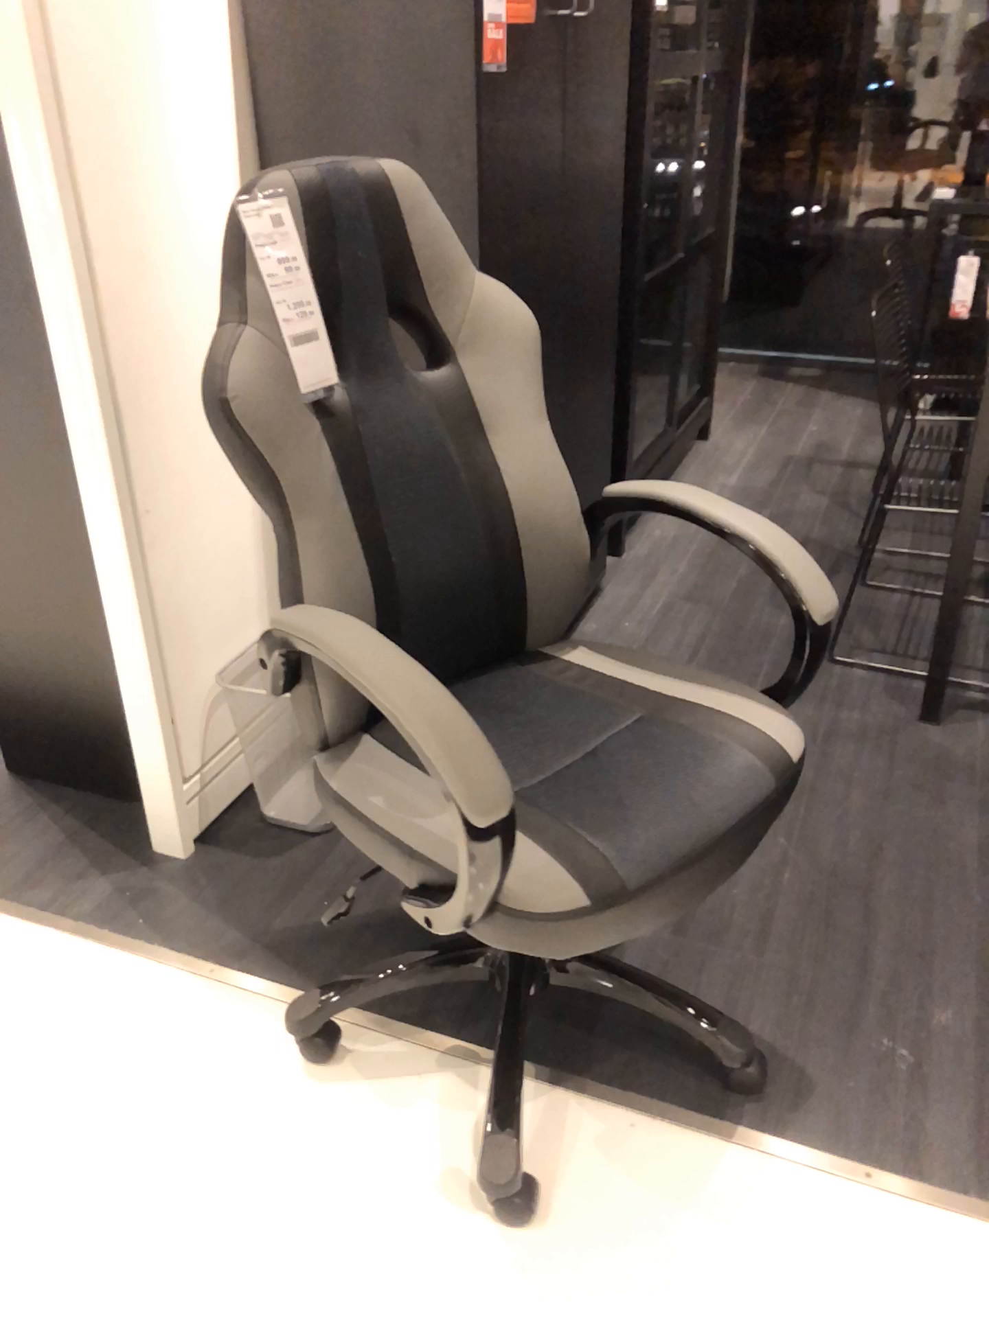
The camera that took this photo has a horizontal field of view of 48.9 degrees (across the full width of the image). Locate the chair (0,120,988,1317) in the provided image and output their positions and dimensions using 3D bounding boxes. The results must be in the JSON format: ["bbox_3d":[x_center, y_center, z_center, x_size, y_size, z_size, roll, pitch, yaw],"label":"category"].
[{"bbox_3d":[-0.003,-0.007,1.373,0.713,1.161,0.783,-25,36,-36],"label":"chair"}]
